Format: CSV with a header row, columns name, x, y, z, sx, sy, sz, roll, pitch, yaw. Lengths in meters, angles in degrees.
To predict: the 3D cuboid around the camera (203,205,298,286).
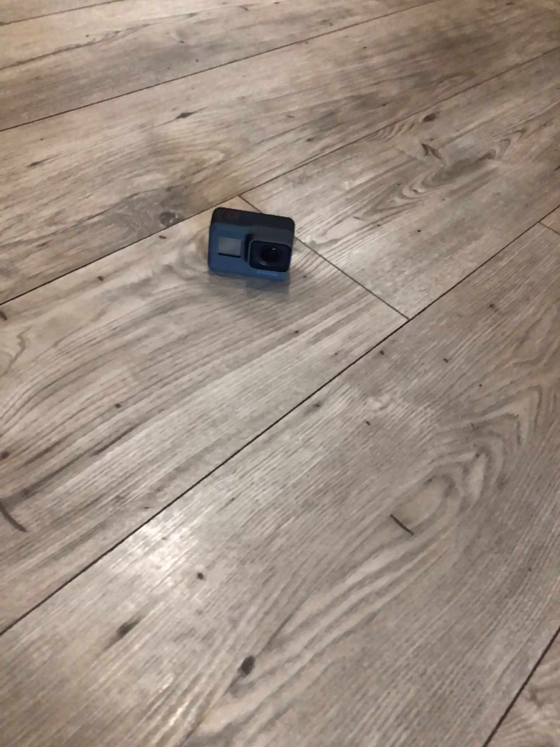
name,x,y,z,sx,sy,sz,roll,pitch,yaw
camera,-0.022,-0.095,0.460,0.065,0.040,0.032,7,49,-4
